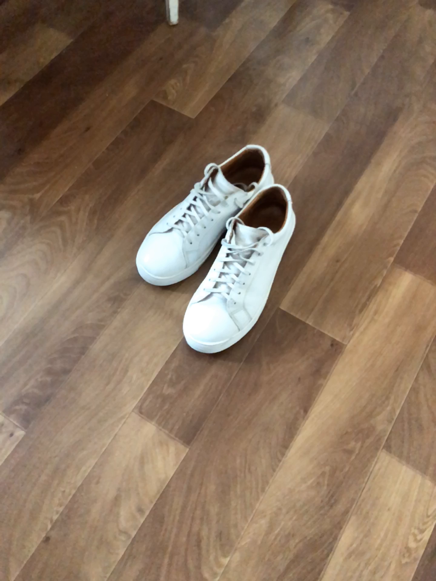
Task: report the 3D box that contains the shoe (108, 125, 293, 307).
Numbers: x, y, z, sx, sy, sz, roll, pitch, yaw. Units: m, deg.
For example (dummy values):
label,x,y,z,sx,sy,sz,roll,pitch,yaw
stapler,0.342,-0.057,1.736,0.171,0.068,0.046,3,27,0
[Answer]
label,x,y,z,sx,sy,sz,roll,pitch,yaw
shoe,-0.020,-0.120,0.751,0.110,0.090,0.280,41,72,17

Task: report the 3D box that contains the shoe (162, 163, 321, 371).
label,x,y,z,sx,sy,sz,roll,pitch,yaw
shoe,0.040,-0.039,0.709,0.110,0.090,0.281,25,68,12
